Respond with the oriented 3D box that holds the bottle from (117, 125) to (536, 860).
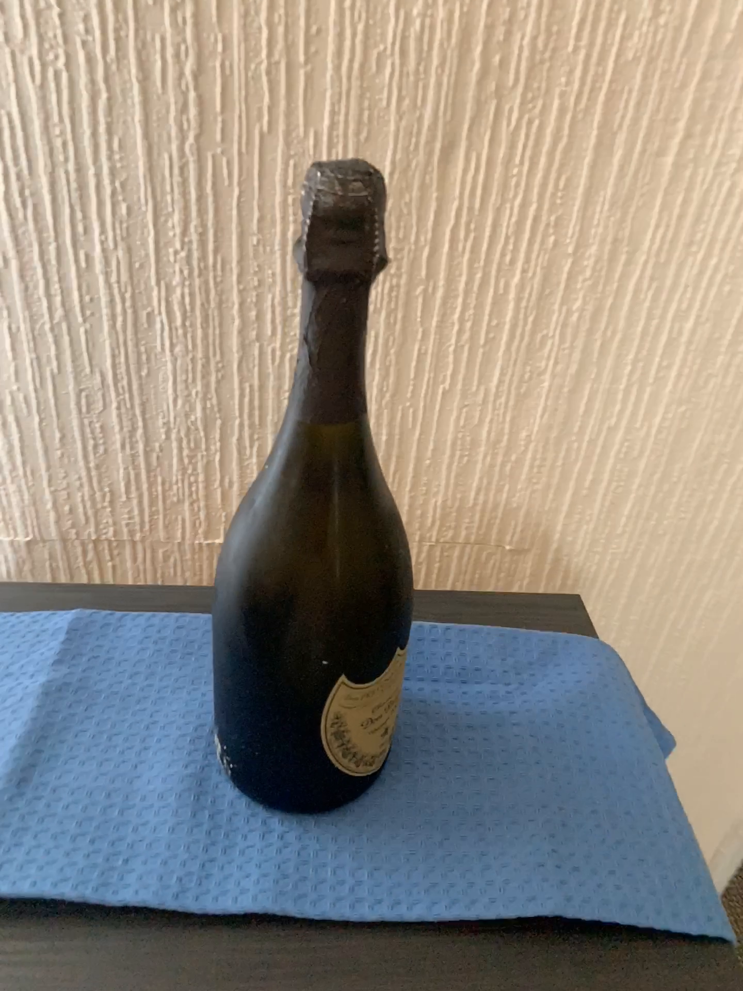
[{"bbox_3d":[-0.027,0.010,0.338,0.100,0.297,0.101,5,34,-3],"label":"bottle"}]
